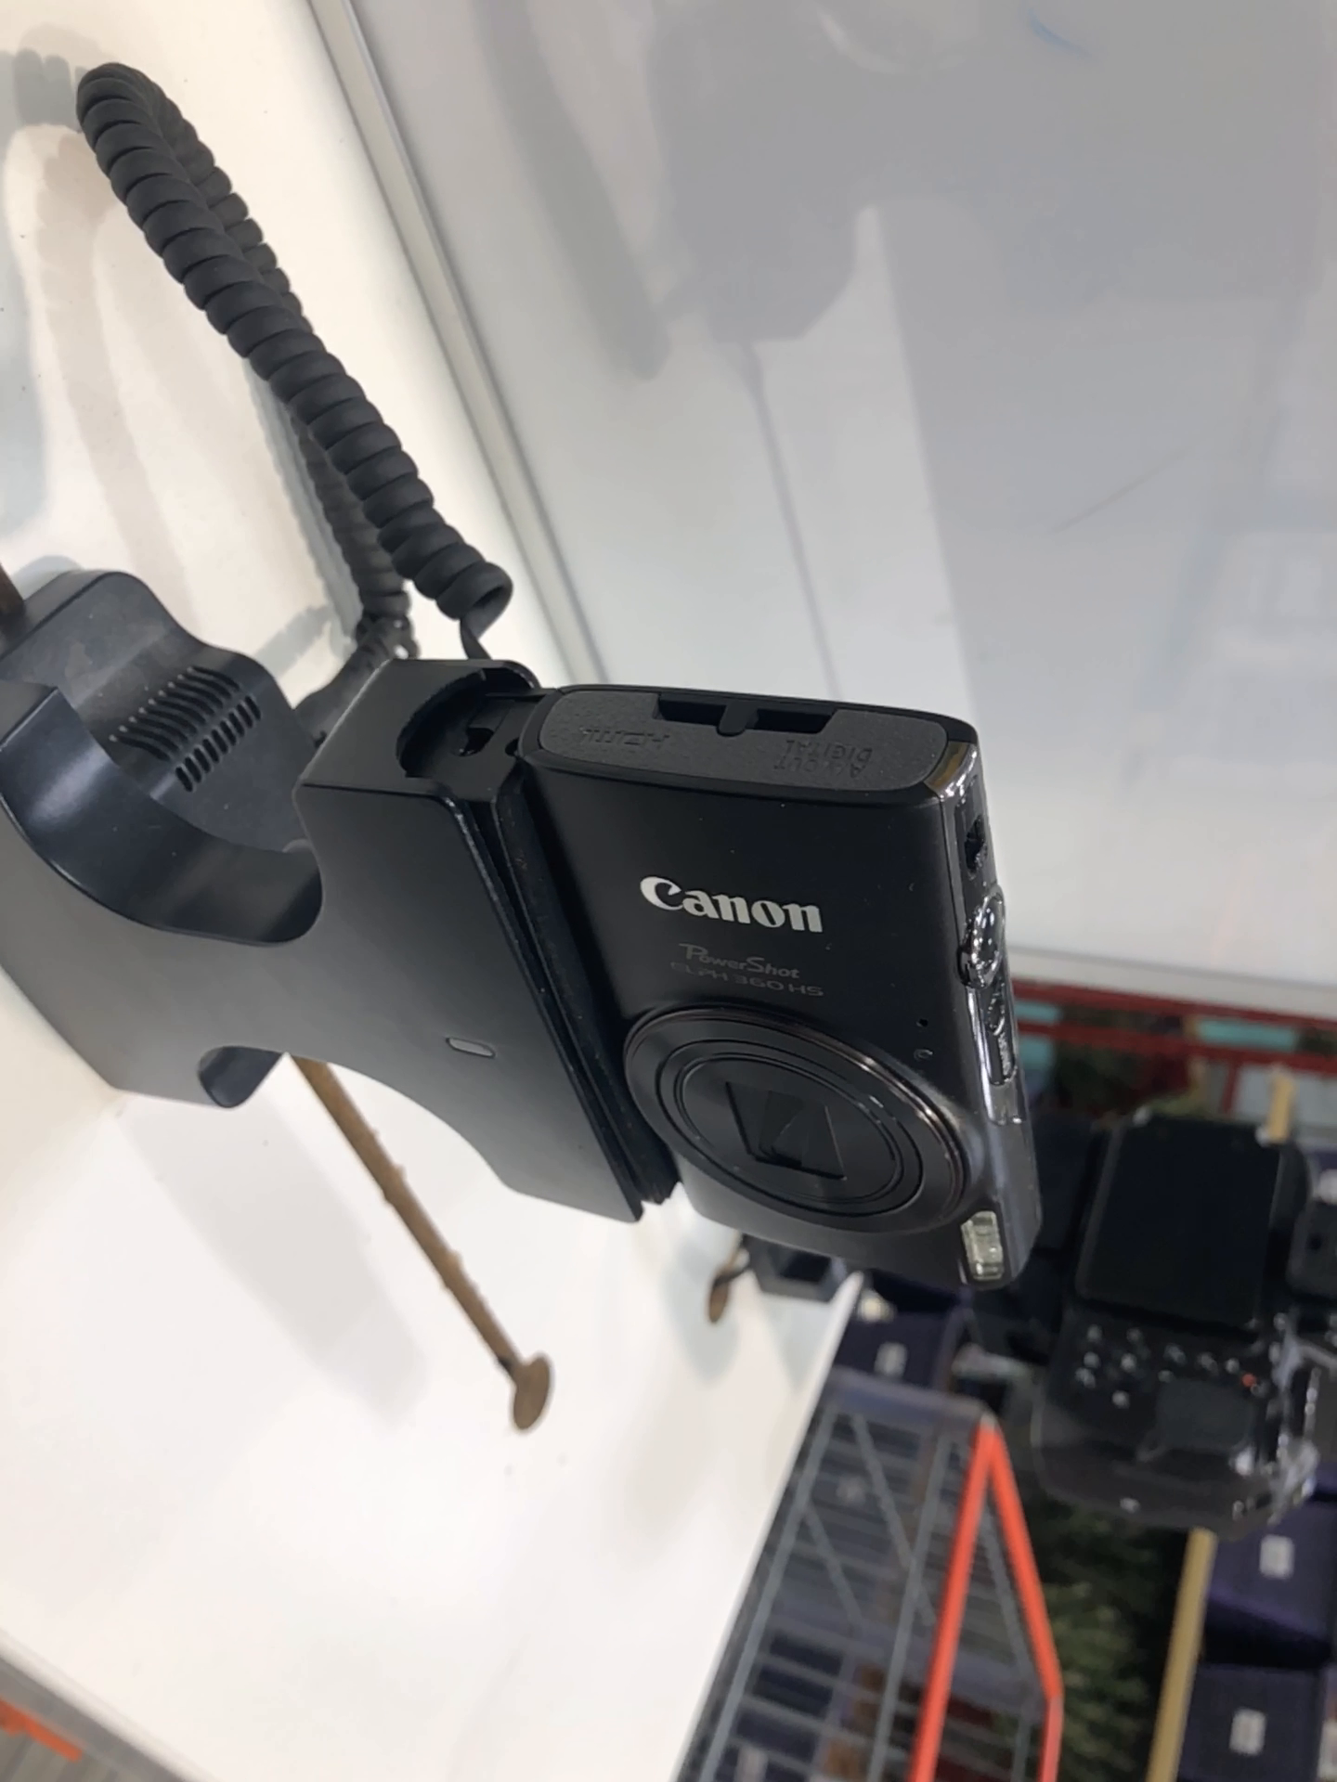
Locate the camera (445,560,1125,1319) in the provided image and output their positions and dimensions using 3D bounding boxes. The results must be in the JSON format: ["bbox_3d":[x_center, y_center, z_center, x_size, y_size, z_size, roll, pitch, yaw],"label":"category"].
[{"bbox_3d":[0.023,0.009,0.213,0.030,0.070,0.110,-59,144,-39],"label":"camera"}]
